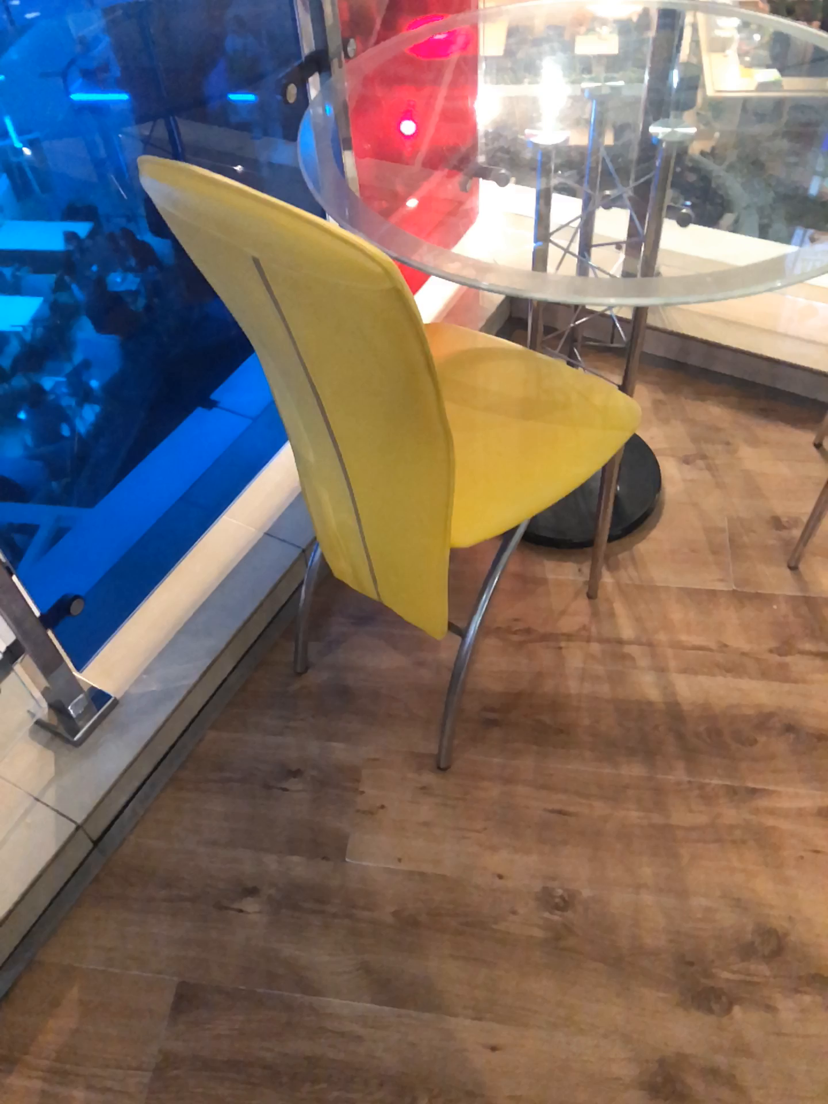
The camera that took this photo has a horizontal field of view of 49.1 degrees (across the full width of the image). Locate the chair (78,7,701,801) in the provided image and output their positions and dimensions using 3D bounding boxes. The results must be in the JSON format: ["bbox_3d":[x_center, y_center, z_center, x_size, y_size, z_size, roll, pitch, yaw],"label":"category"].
[{"bbox_3d":[0.011,-0.151,1.274,0.431,0.897,0.491,29,58,26],"label":"chair"}]
